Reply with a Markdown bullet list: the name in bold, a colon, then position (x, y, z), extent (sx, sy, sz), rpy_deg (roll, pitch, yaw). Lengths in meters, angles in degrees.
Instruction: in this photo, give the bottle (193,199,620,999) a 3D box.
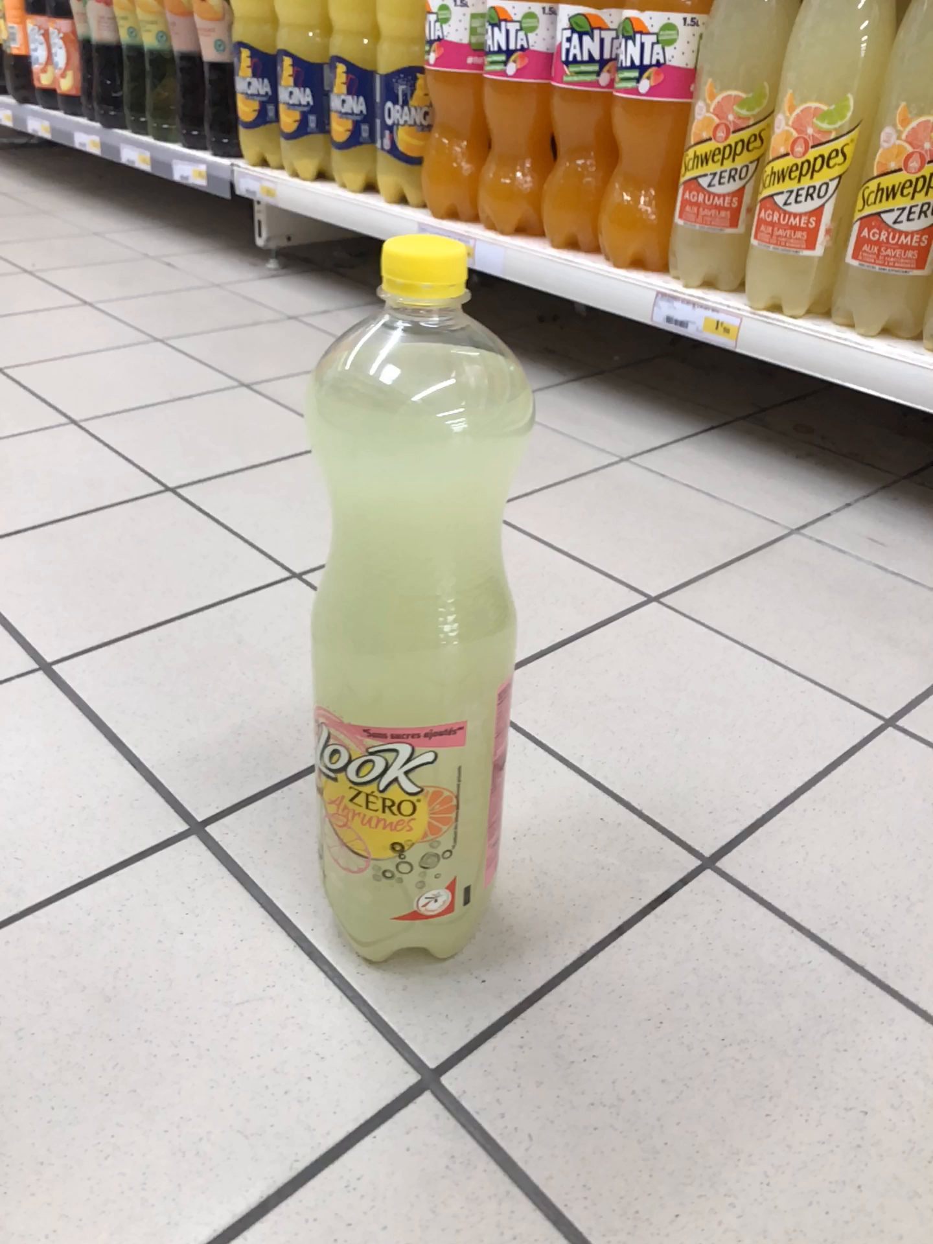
- **bottle**: position (-0.024, -0.003, 0.425), extent (0.110, 0.298, 0.101), rpy_deg (3, 31, -2)
